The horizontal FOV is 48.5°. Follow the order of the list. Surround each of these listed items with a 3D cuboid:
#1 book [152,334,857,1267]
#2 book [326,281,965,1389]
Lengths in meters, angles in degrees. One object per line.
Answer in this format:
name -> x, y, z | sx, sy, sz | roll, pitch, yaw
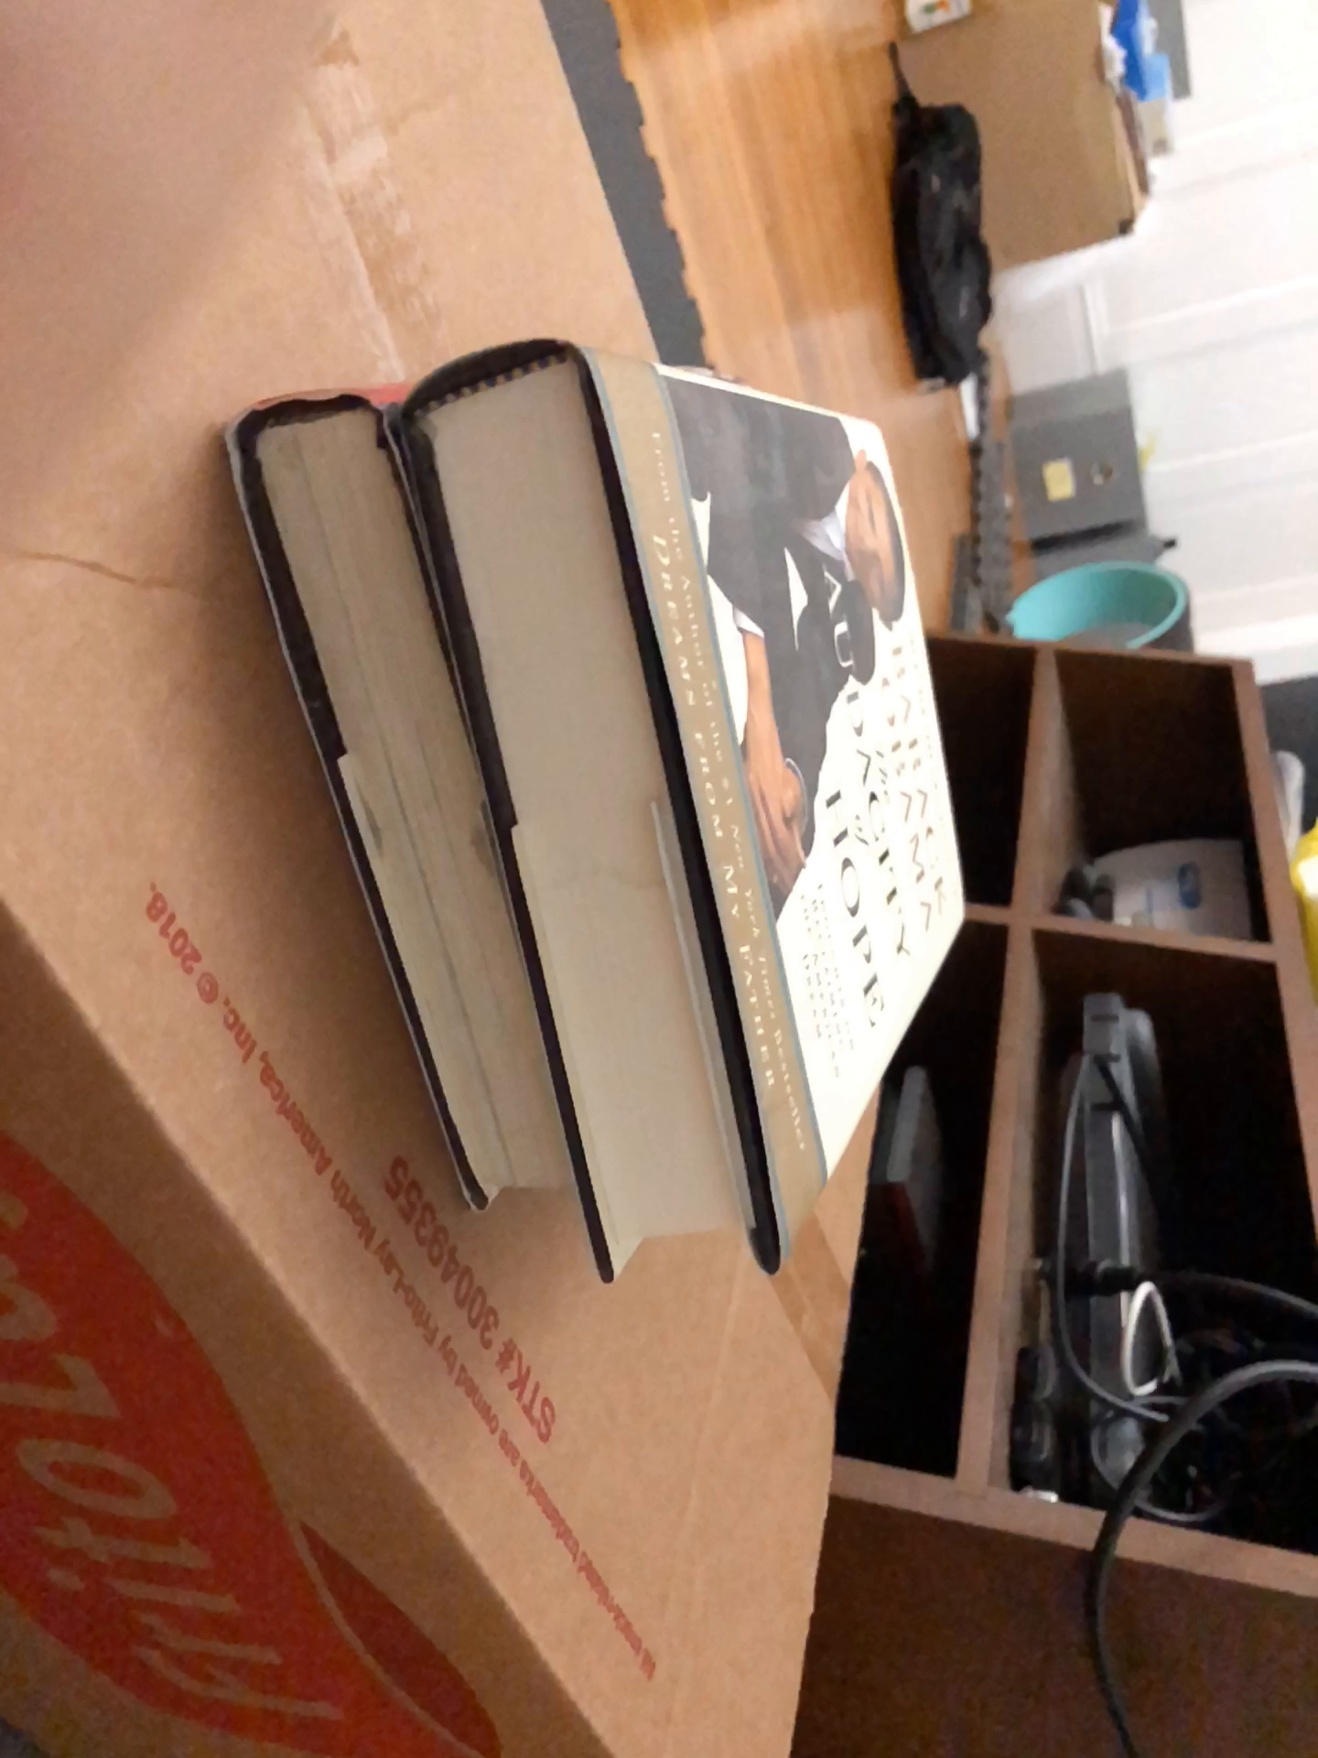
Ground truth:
book -> -0.009, -0.046, 0.374 | 0.251, 0.040, 0.170 | -47, 126, -63
book -> 0.024, -0.027, 0.366 | 0.251, 0.040, 0.190 | -35, 115, -66
